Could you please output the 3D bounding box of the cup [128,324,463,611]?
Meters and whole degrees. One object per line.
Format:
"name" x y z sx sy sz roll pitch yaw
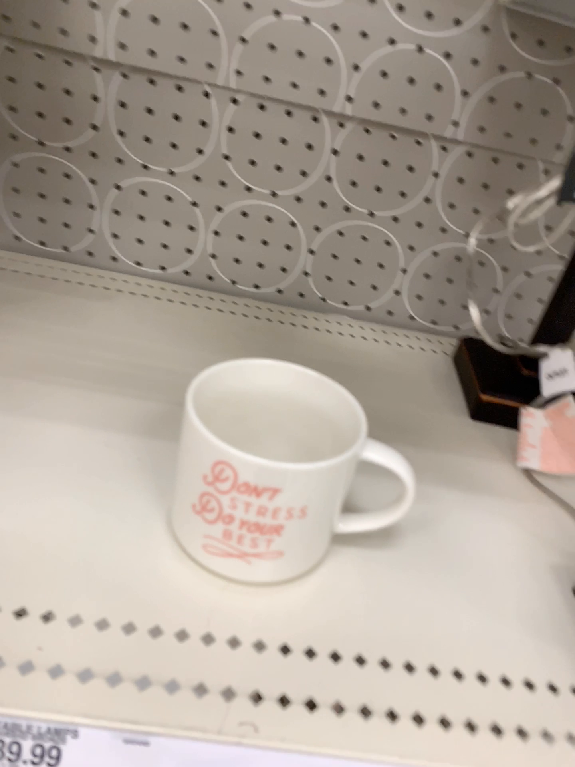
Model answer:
"cup" 0.001 0.044 0.329 0.150 0.089 0.101 11 32 -3
